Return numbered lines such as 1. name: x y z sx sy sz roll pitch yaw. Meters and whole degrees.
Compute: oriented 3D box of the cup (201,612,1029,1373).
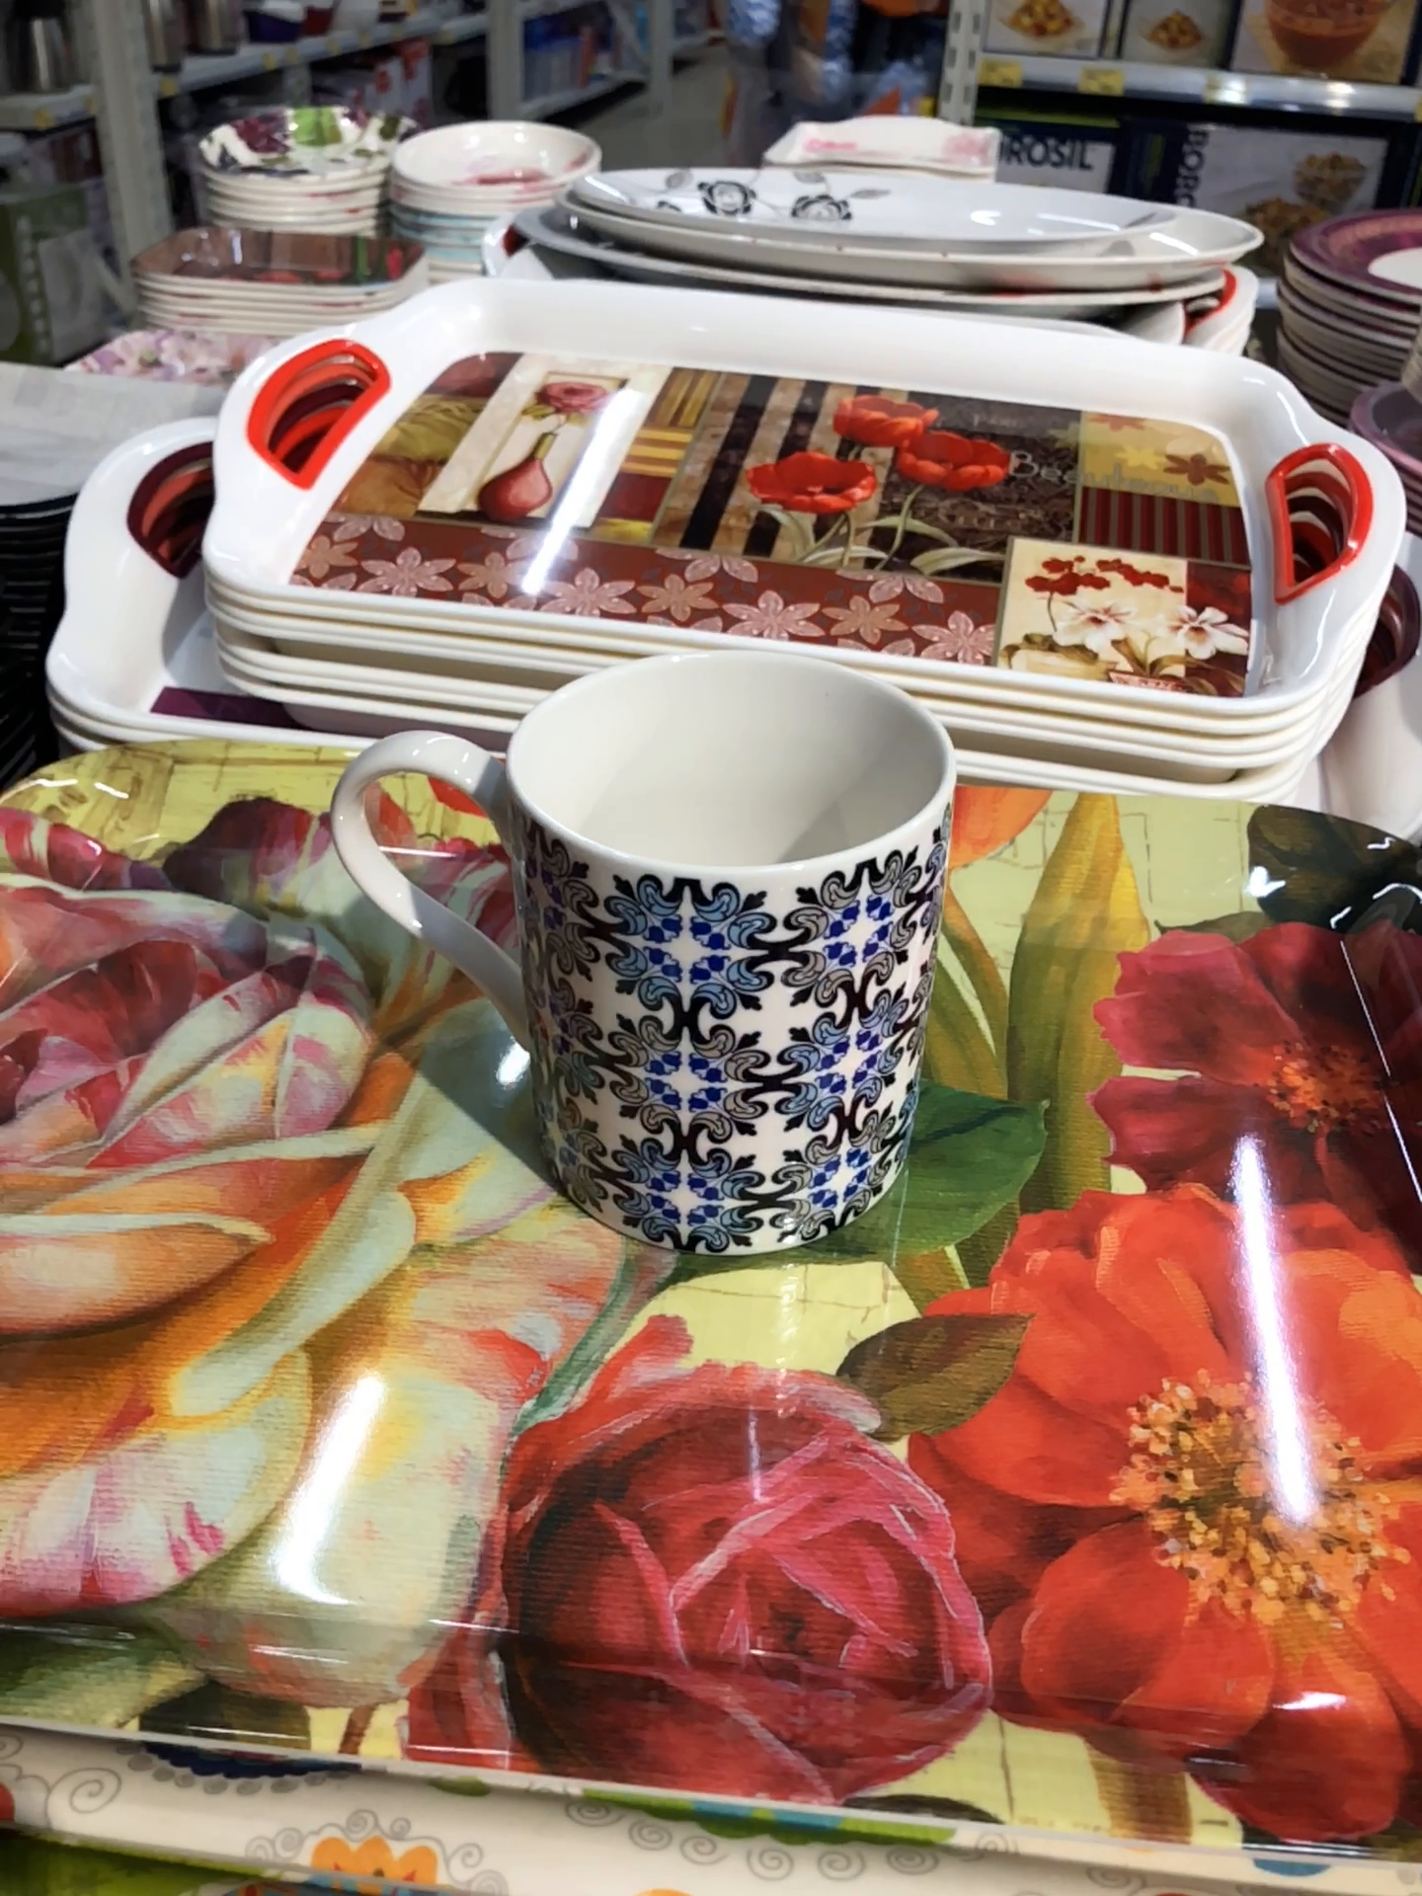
1. cup: -0.012 0.005 0.308 0.130 0.099 0.091 7 34 5
